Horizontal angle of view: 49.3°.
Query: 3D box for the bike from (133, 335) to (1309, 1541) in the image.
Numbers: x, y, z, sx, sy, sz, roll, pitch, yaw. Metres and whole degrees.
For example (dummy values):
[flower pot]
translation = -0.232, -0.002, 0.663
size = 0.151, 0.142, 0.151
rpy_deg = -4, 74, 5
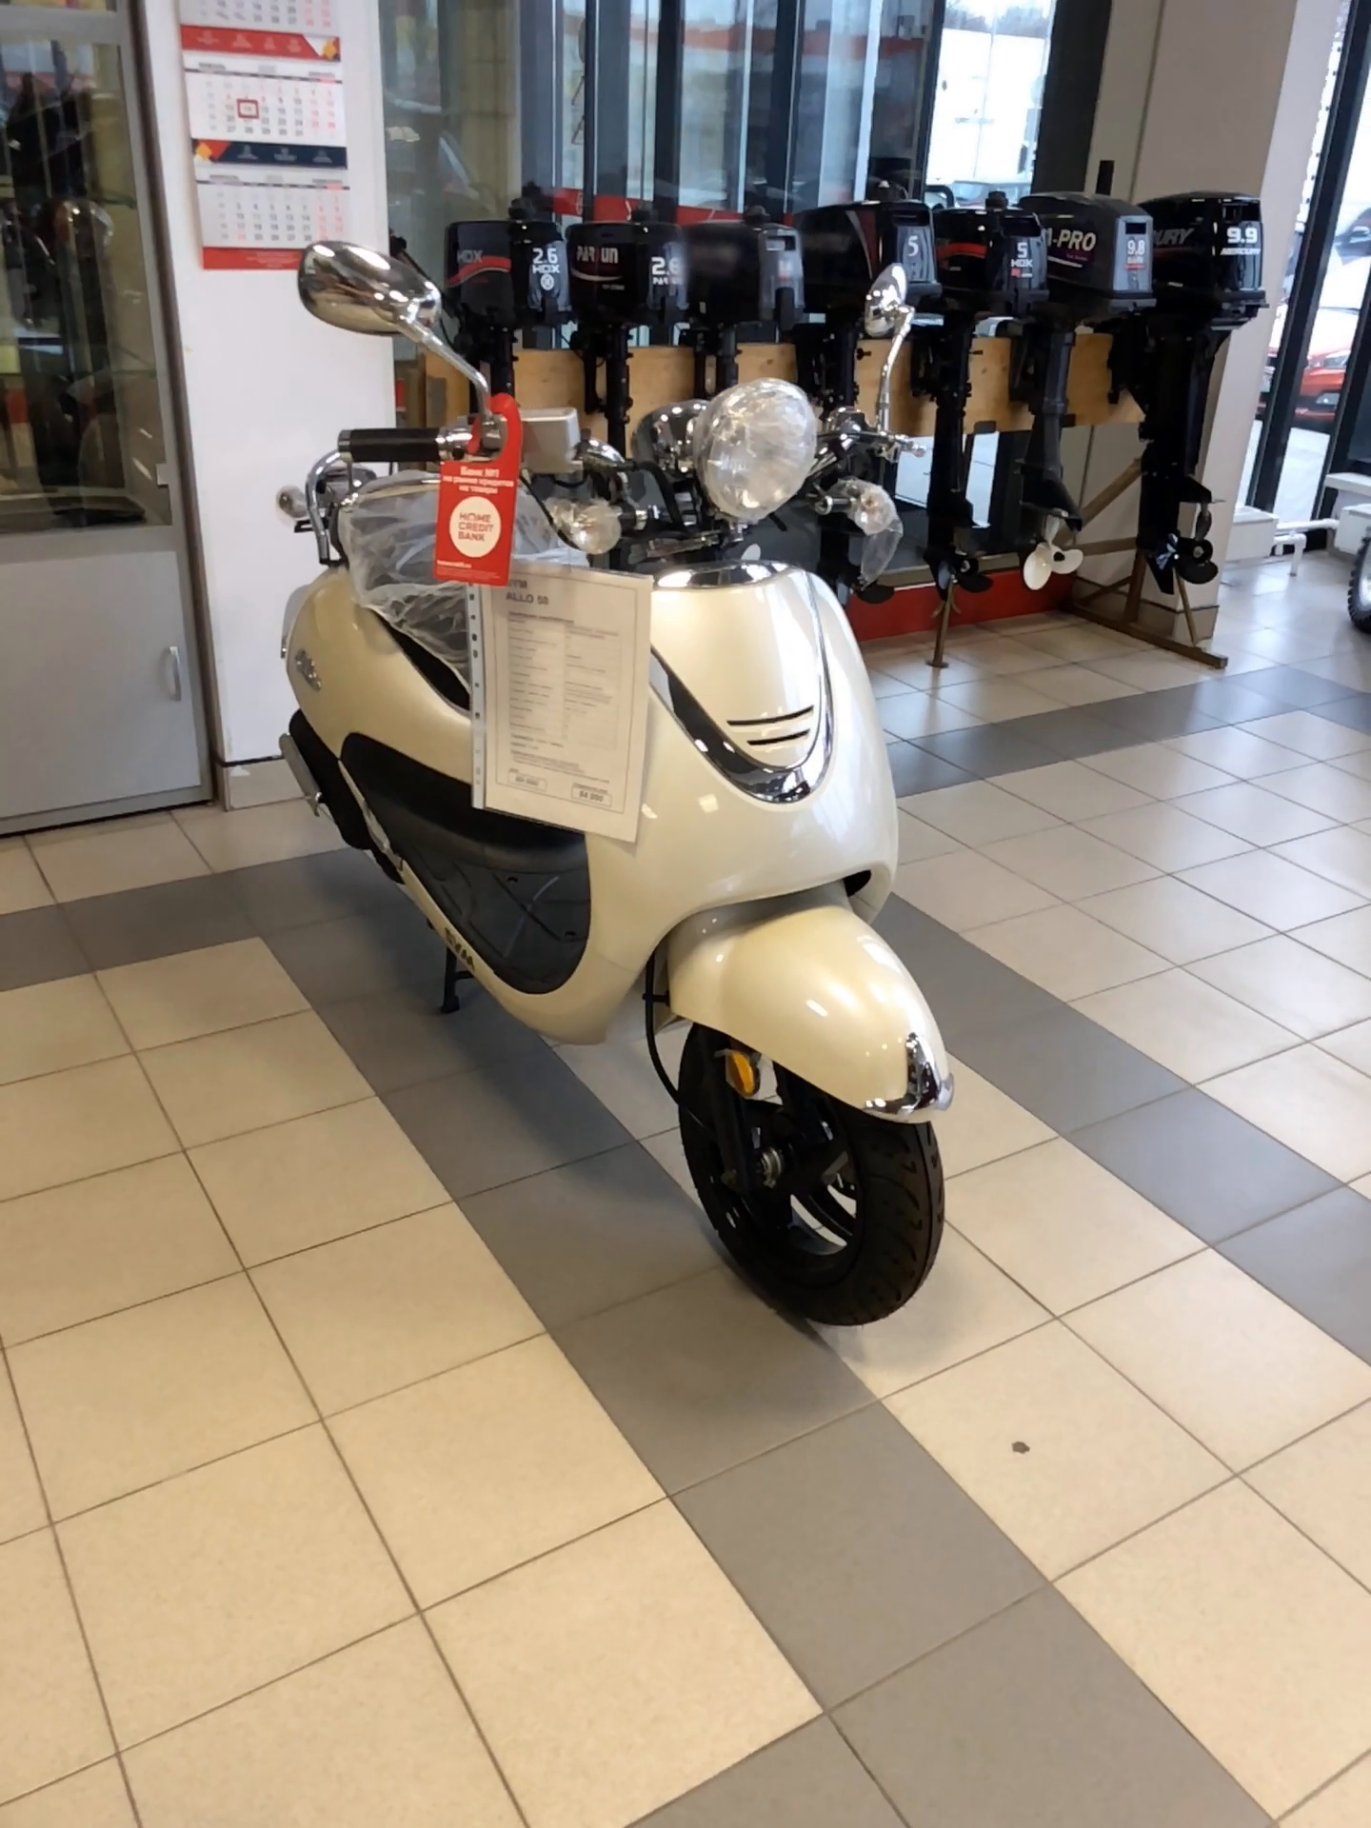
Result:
[bike]
translation = -0.141, -0.199, 2.243
size = 0.806, 0.963, 1.688
rpy_deg = -13, 33, -29
